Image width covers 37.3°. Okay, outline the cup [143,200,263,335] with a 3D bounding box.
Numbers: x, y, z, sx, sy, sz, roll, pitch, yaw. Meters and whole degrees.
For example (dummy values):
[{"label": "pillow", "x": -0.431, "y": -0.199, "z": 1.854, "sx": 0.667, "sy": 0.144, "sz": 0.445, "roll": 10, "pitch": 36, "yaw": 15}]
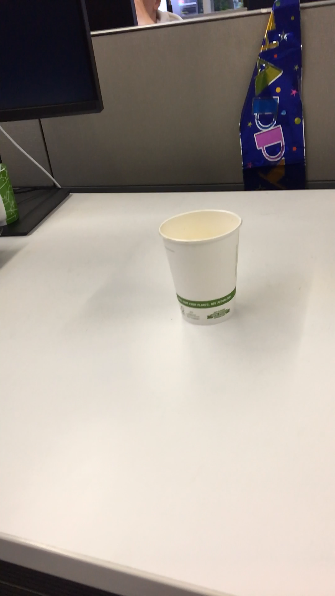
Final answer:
[{"label": "cup", "x": 0.039, "y": -0.036, "z": 0.528, "sx": 0.080, "sy": 0.100, "sz": 0.090, "roll": -25, "pitch": 33, "yaw": -29}]
